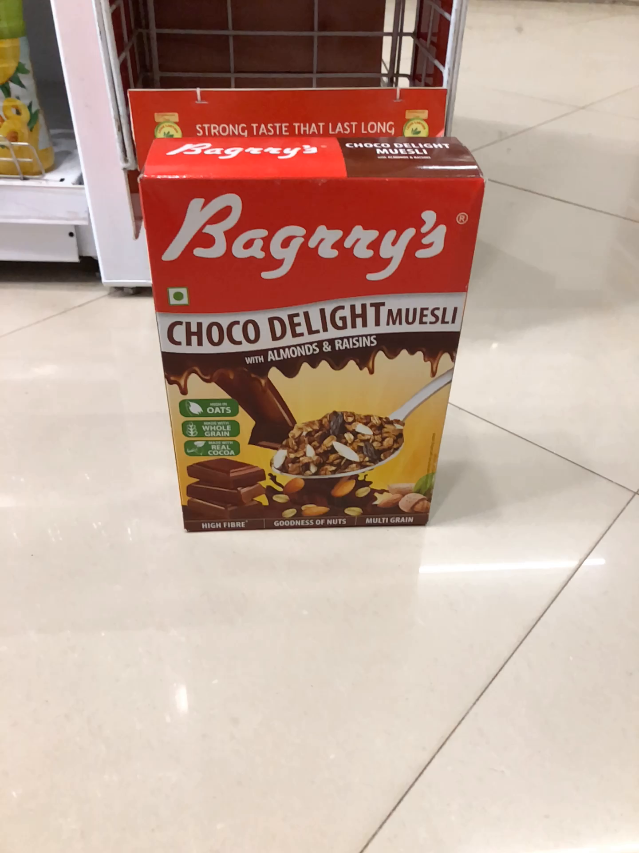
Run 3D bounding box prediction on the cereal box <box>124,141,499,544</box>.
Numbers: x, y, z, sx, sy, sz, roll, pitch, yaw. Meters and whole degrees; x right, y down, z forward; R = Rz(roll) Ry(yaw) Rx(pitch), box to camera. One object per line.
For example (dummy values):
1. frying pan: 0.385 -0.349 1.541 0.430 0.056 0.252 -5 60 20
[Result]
1. cereal box: -0.008 -0.041 0.462 0.190 0.258 0.070 -1 37 -4
